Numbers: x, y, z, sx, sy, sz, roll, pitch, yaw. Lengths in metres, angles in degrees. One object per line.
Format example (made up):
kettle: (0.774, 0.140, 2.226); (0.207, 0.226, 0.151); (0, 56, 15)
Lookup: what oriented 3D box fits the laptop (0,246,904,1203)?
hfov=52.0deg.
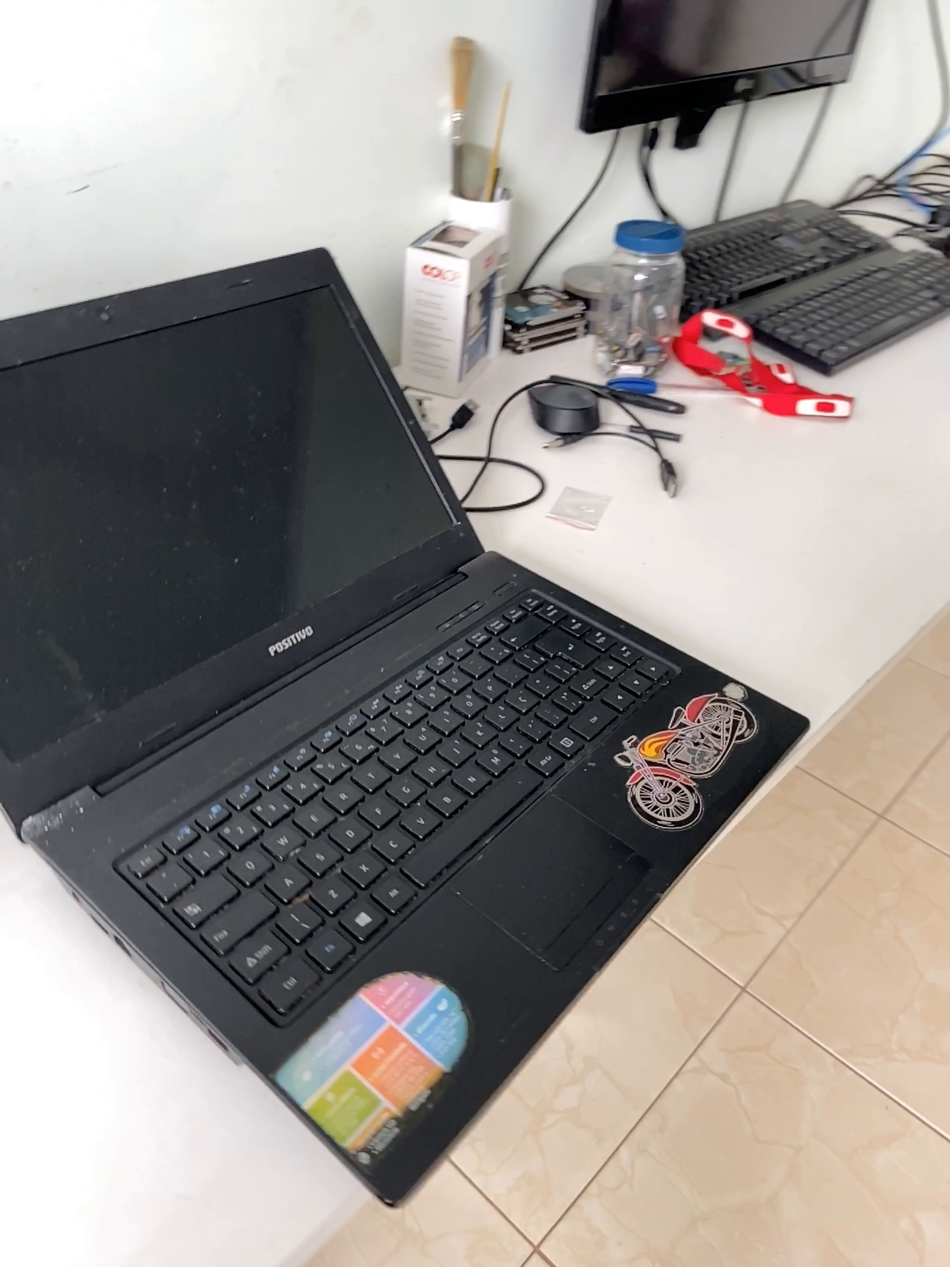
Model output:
laptop: (-0.065, -0.030, 0.481); (0.393, 0.162, 0.336); (30, 44, 29)
